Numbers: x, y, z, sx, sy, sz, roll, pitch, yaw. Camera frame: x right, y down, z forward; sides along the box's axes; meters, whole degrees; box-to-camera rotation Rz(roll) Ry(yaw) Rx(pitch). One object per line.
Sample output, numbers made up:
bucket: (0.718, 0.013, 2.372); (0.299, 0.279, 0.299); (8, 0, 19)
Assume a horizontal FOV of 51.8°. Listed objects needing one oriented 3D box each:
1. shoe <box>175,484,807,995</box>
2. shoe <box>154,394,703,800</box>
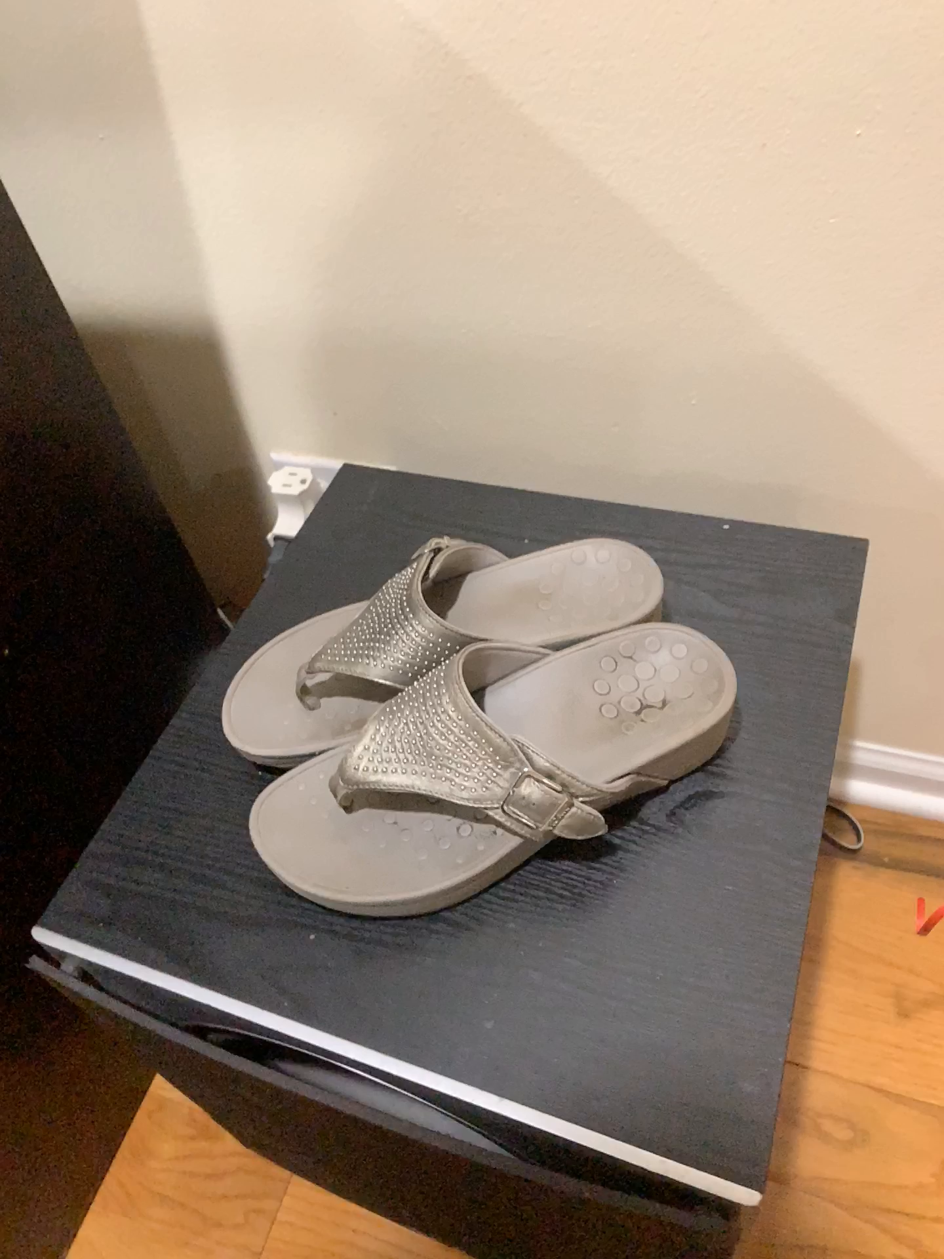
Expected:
shoe: (0.011, 0.042, 0.441); (0.248, 0.080, 0.109); (-26, 50, -12)
shoe: (-0.021, -0.021, 0.499); (0.247, 0.080, 0.109); (-20, 49, -7)
